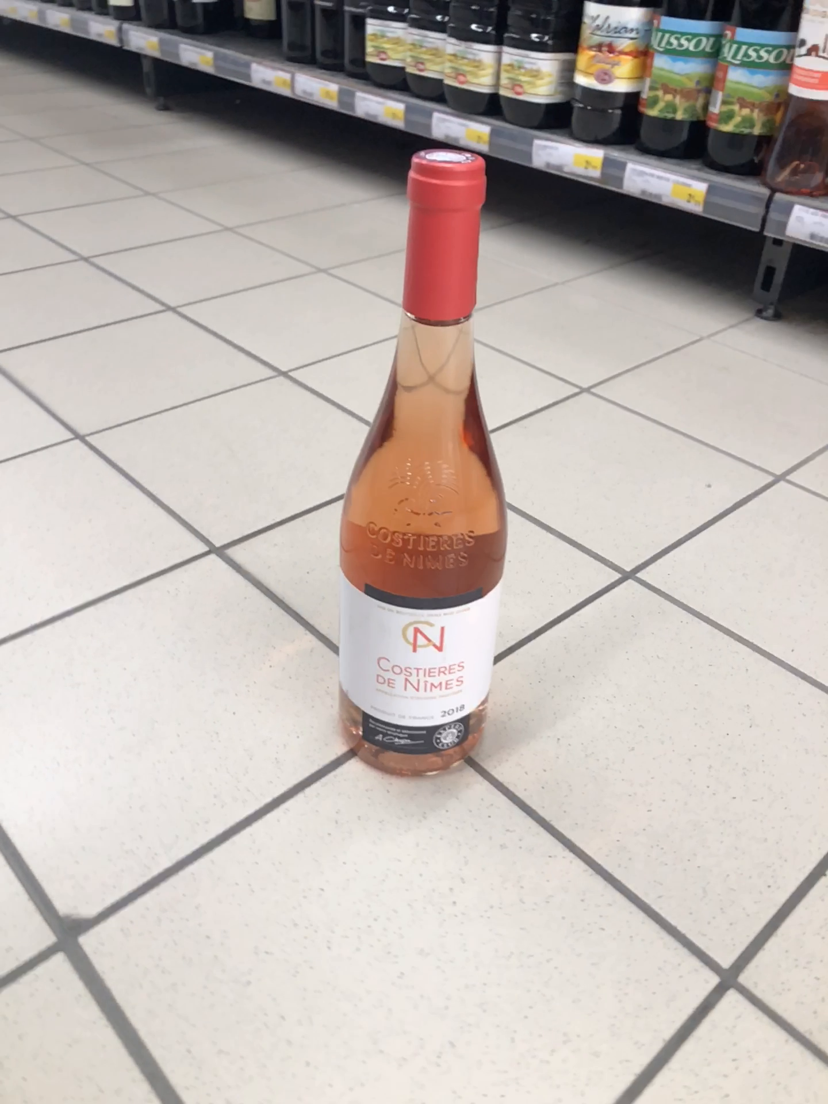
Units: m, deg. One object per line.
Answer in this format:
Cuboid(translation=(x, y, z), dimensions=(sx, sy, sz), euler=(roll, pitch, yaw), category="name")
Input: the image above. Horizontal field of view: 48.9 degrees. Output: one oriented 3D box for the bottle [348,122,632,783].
Cuboid(translation=(0.018, -0.029, 0.404), dimensions=(0.090, 0.278, 0.091), euler=(2, 34, -1), category="bottle")
